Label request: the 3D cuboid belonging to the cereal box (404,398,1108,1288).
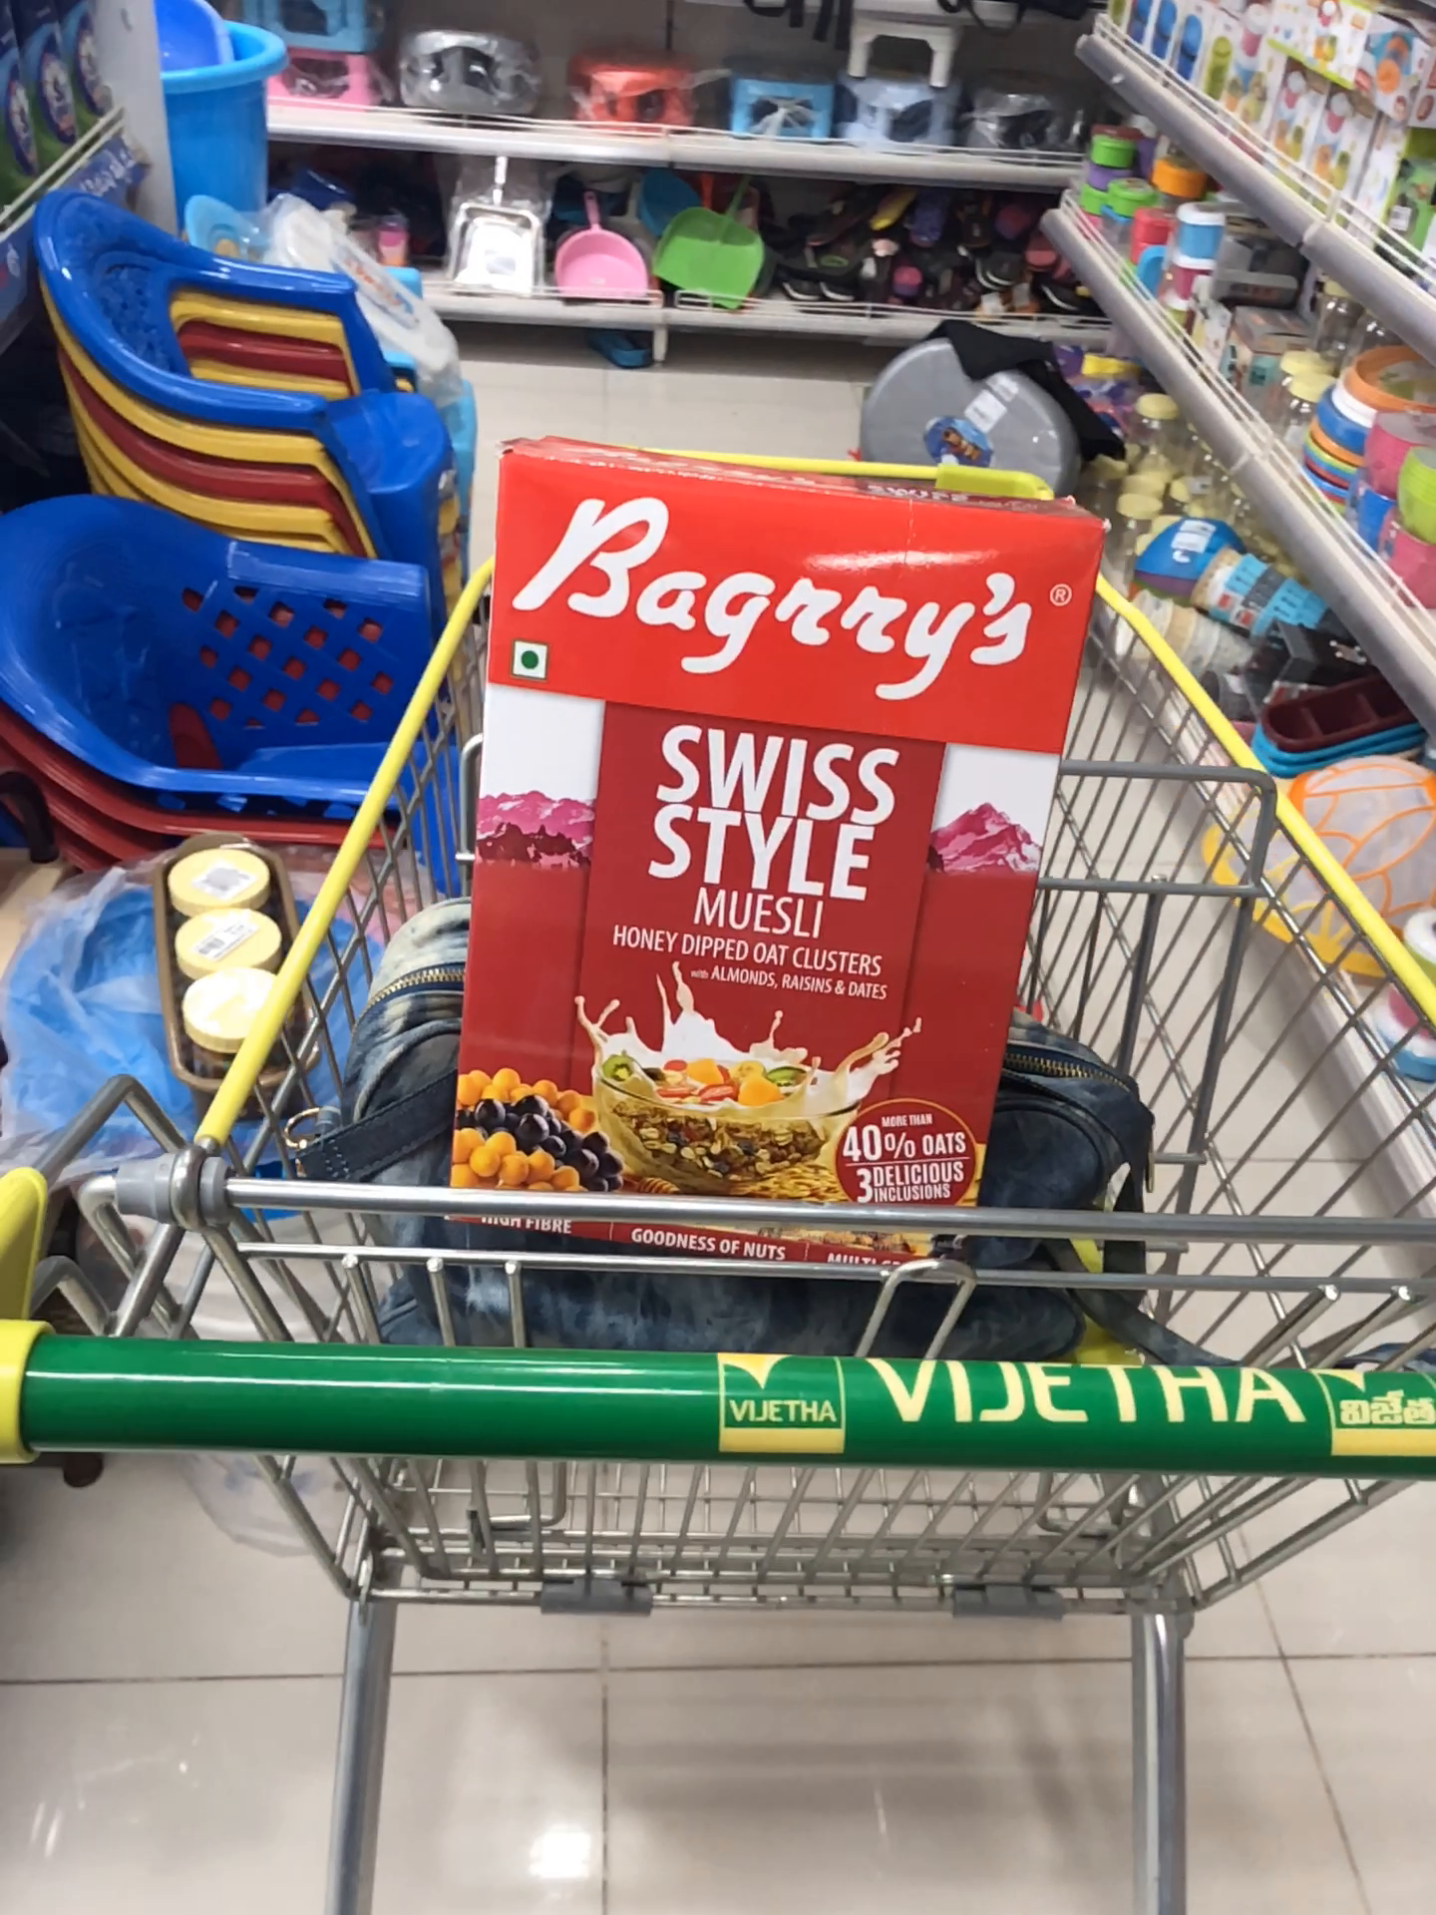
[{"bbox_3d":[0.005,-0.036,0.523,0.190,0.259,0.070,7,16,2],"label":"cereal box"}]
